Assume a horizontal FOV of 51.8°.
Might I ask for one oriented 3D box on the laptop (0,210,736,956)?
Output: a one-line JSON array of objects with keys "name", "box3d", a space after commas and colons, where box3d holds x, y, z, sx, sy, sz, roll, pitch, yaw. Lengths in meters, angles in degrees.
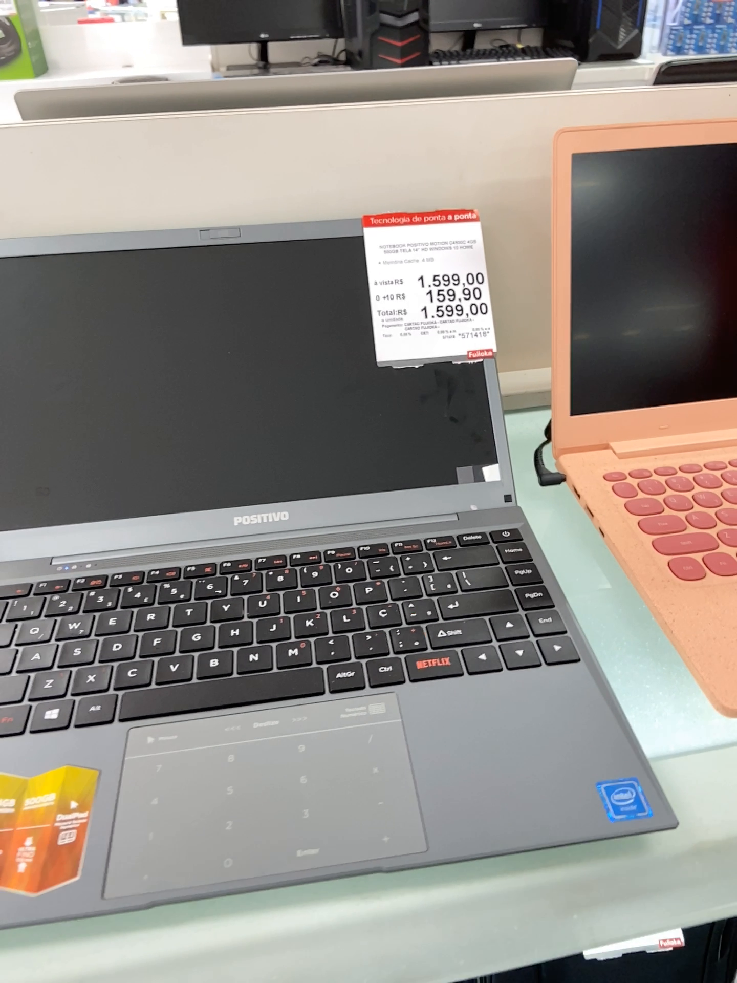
[{"name": "laptop", "box3d": [-0.065, -0.013, 0.400, 0.333, 0.144, 0.368, -6, 36, -5]}]
